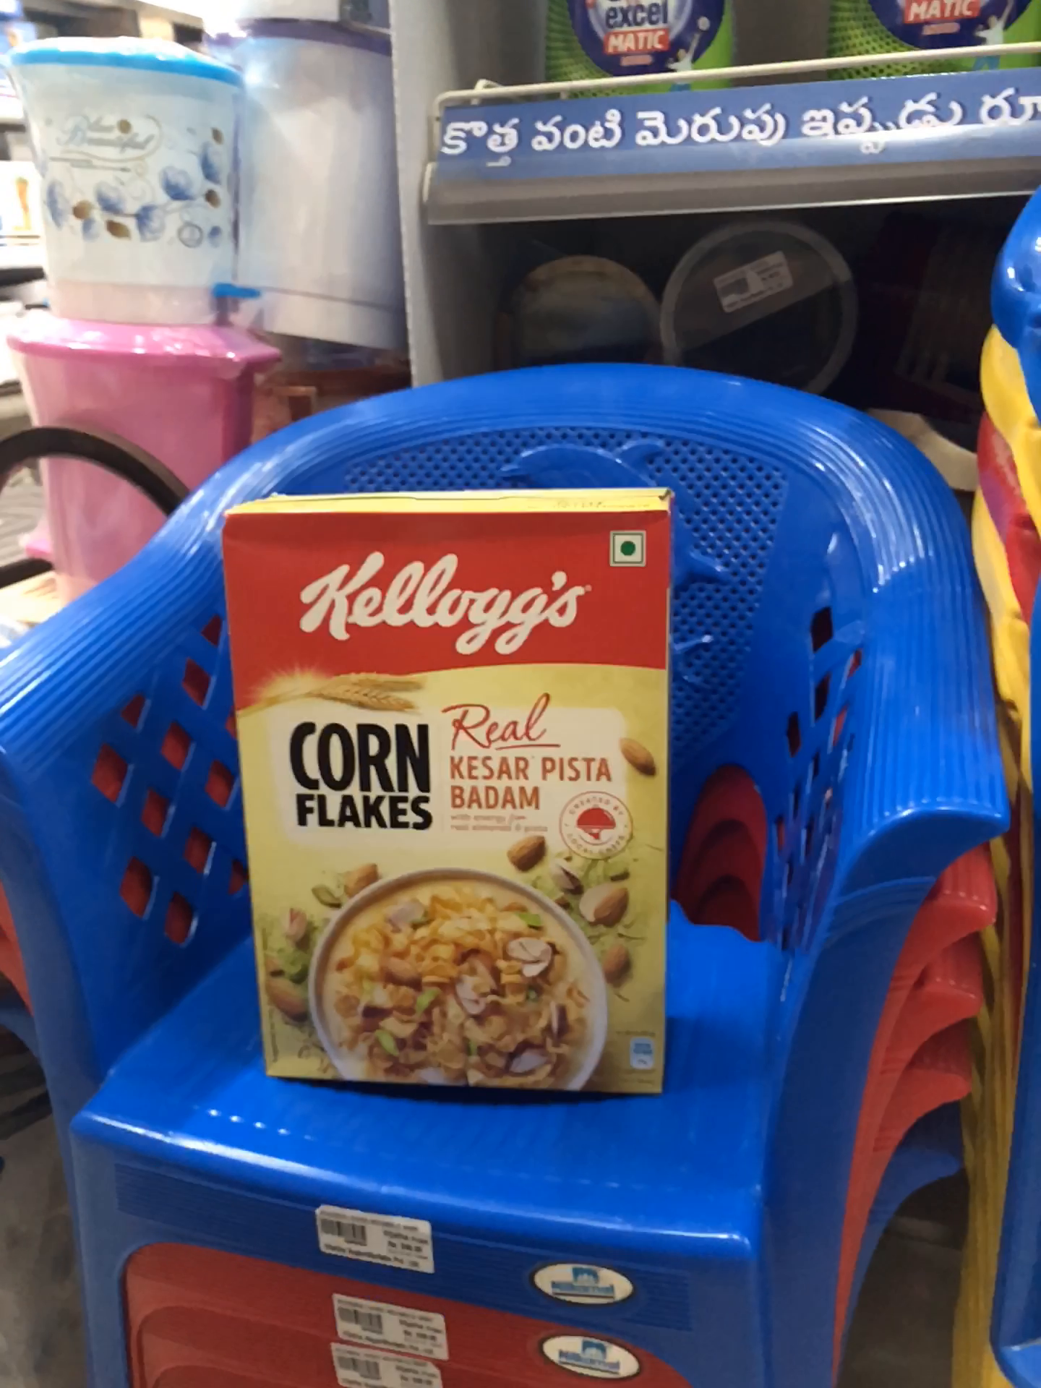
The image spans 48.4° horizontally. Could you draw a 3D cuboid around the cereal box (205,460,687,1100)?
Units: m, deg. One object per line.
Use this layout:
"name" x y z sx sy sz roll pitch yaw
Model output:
"cereal box" -0.023 0.038 0.517 0.190 0.269 0.070 0 15 7
